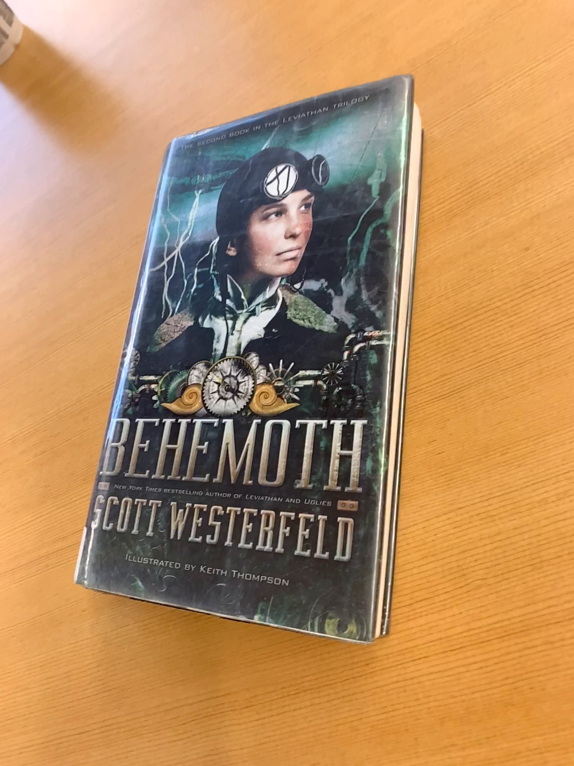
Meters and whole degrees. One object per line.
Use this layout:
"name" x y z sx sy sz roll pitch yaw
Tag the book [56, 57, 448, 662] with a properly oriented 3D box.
"book" -0.012 -0.016 0.281 0.151 0.050 0.241 -2 72 30
